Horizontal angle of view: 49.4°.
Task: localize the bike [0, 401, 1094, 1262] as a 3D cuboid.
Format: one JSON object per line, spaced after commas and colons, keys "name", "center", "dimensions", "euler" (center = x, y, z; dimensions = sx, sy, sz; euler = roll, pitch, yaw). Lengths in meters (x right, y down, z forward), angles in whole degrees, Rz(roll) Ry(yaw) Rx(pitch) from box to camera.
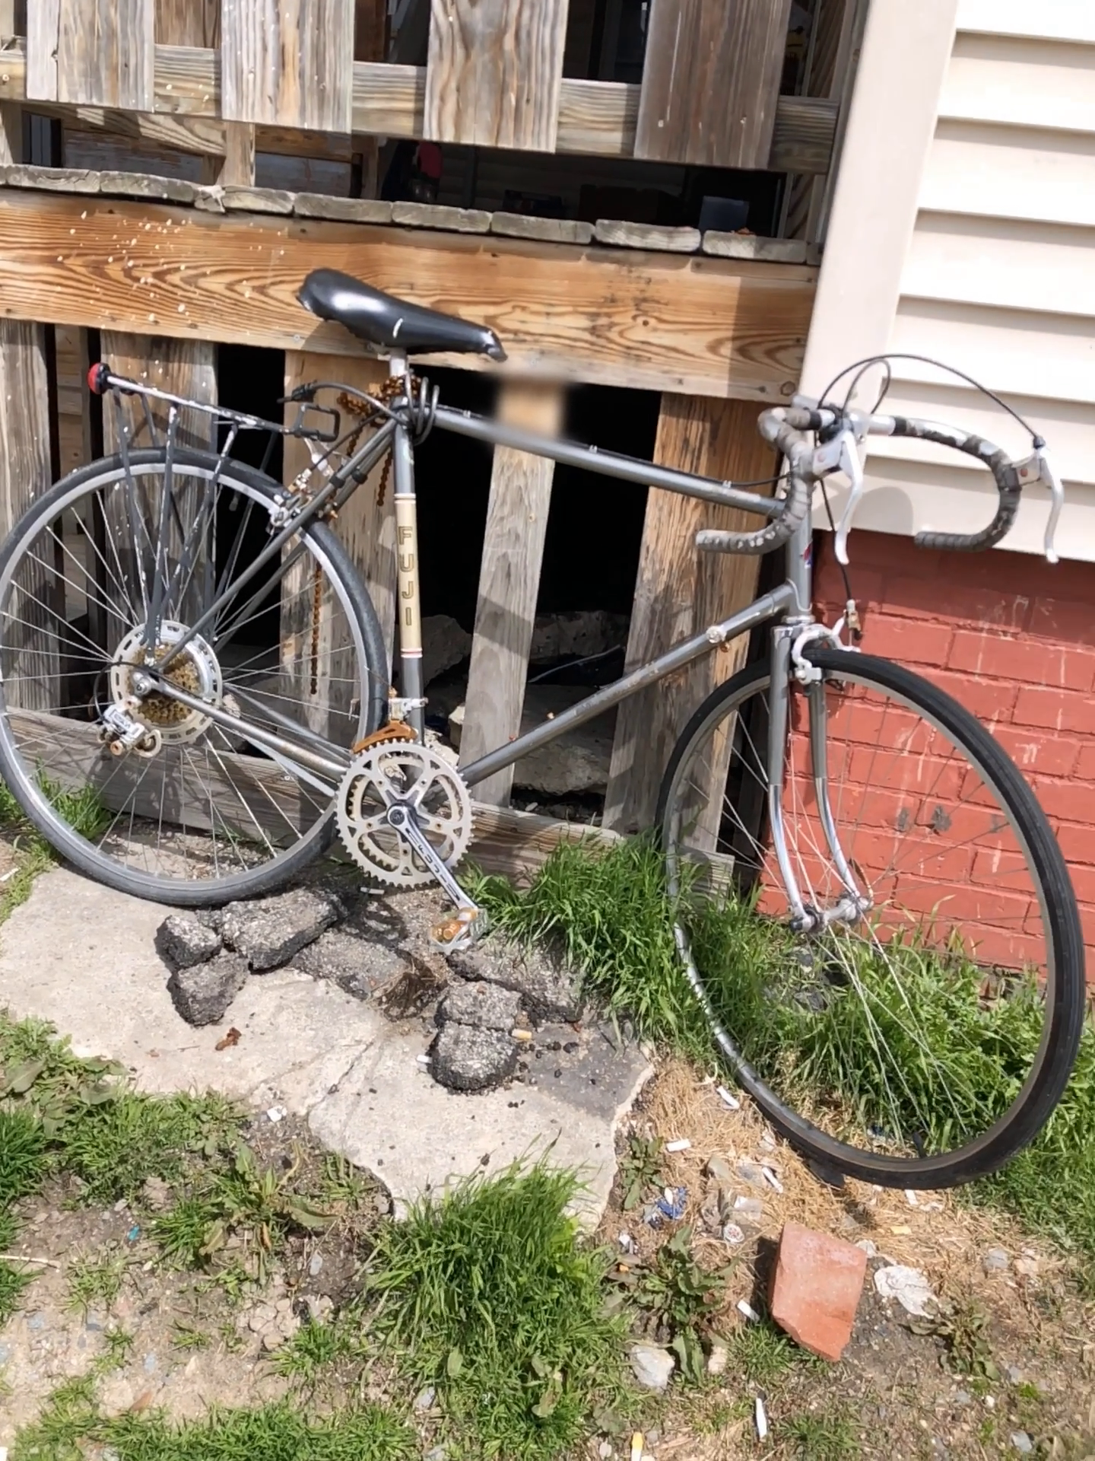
{"name": "bike", "center": [-0.077, -0.009, 1.272], "dimensions": [1.201, 0.479, 0.400], "euler": [15, 21, 21]}
